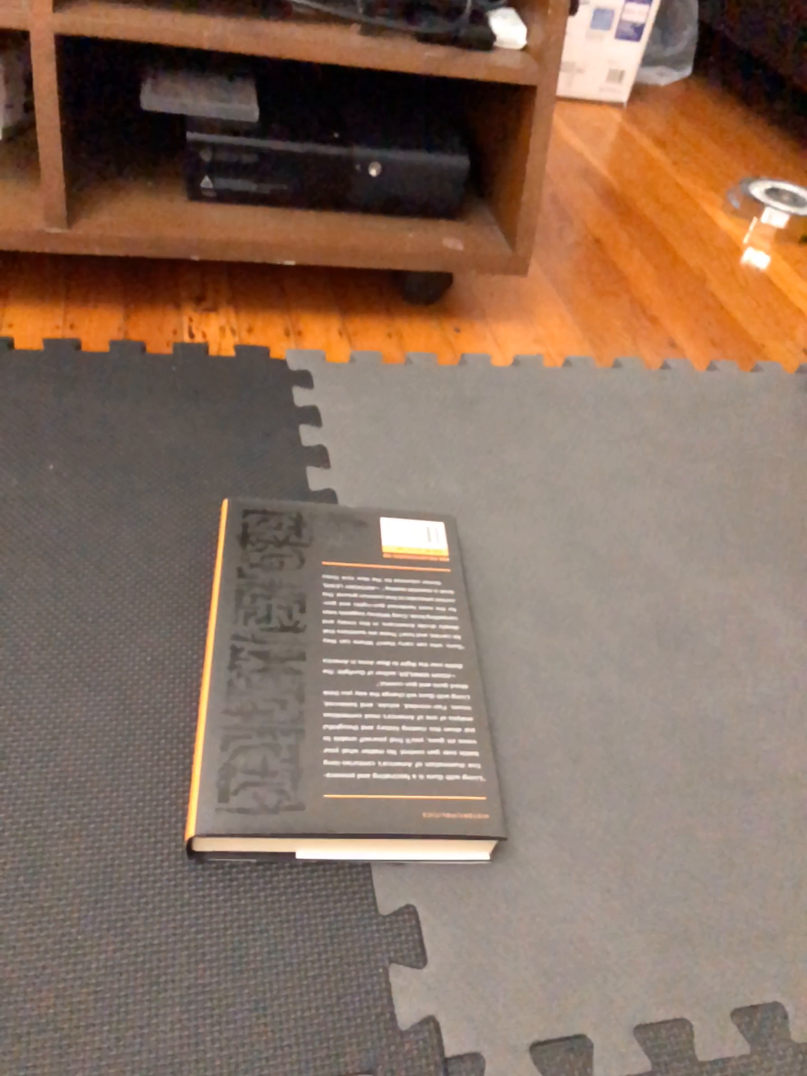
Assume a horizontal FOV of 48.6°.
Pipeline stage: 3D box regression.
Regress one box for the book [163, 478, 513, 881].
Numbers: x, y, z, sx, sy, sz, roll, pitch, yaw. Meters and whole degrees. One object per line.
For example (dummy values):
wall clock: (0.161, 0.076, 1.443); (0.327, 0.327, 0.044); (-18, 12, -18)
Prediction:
book: (-0.039, 0.070, 0.540); (0.170, 0.040, 0.261); (4, 43, -8)
